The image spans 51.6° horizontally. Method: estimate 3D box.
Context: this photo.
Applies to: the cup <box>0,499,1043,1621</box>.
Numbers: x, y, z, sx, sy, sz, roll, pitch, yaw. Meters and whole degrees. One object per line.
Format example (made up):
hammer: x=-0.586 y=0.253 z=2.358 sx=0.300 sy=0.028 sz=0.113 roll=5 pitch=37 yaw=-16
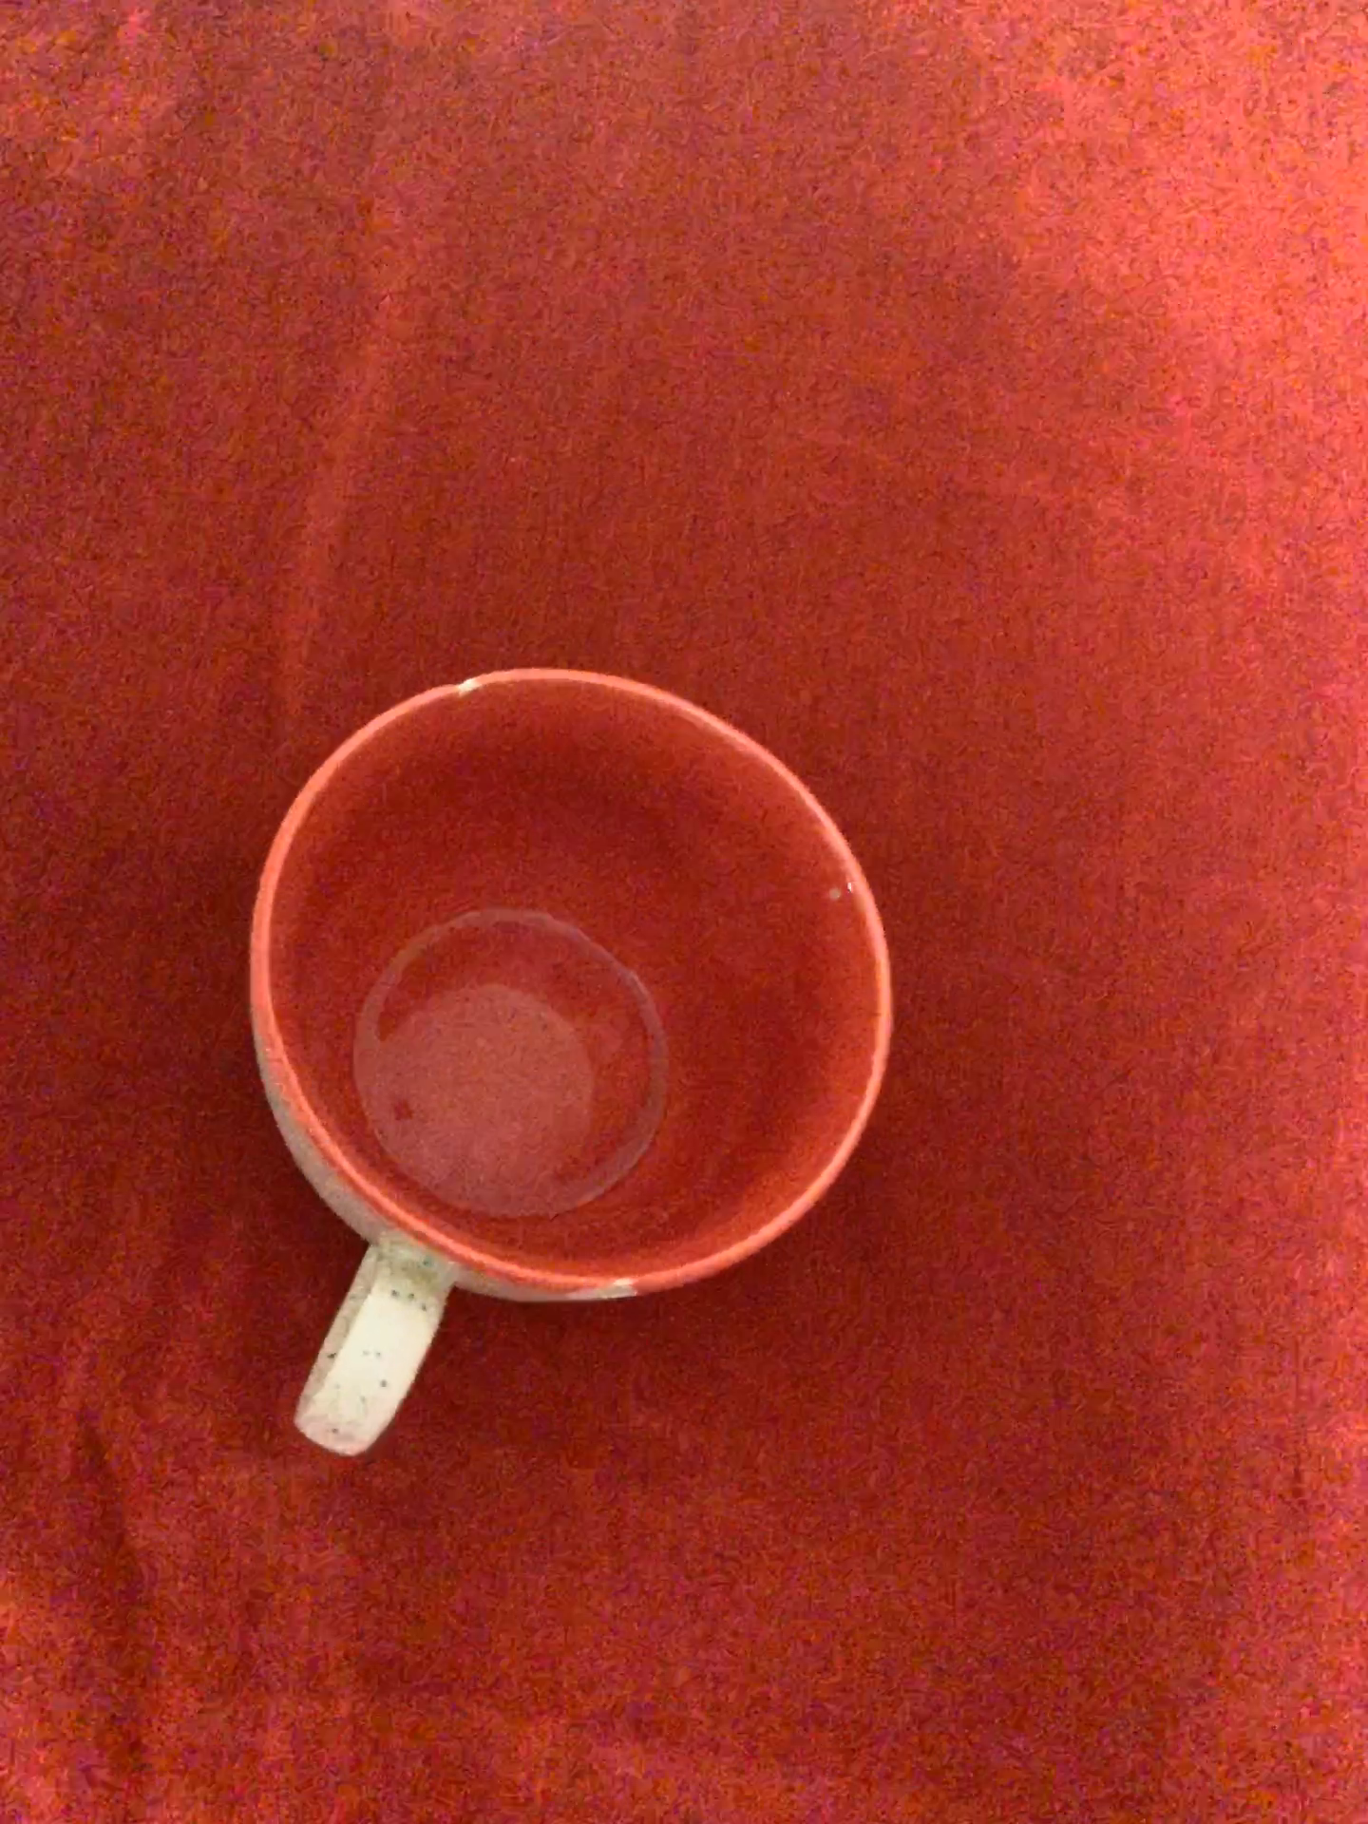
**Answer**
cup: x=-0.028 y=0.026 z=0.260 sx=0.130 sy=0.070 sz=0.141 roll=6 pitch=68 yaw=-14
